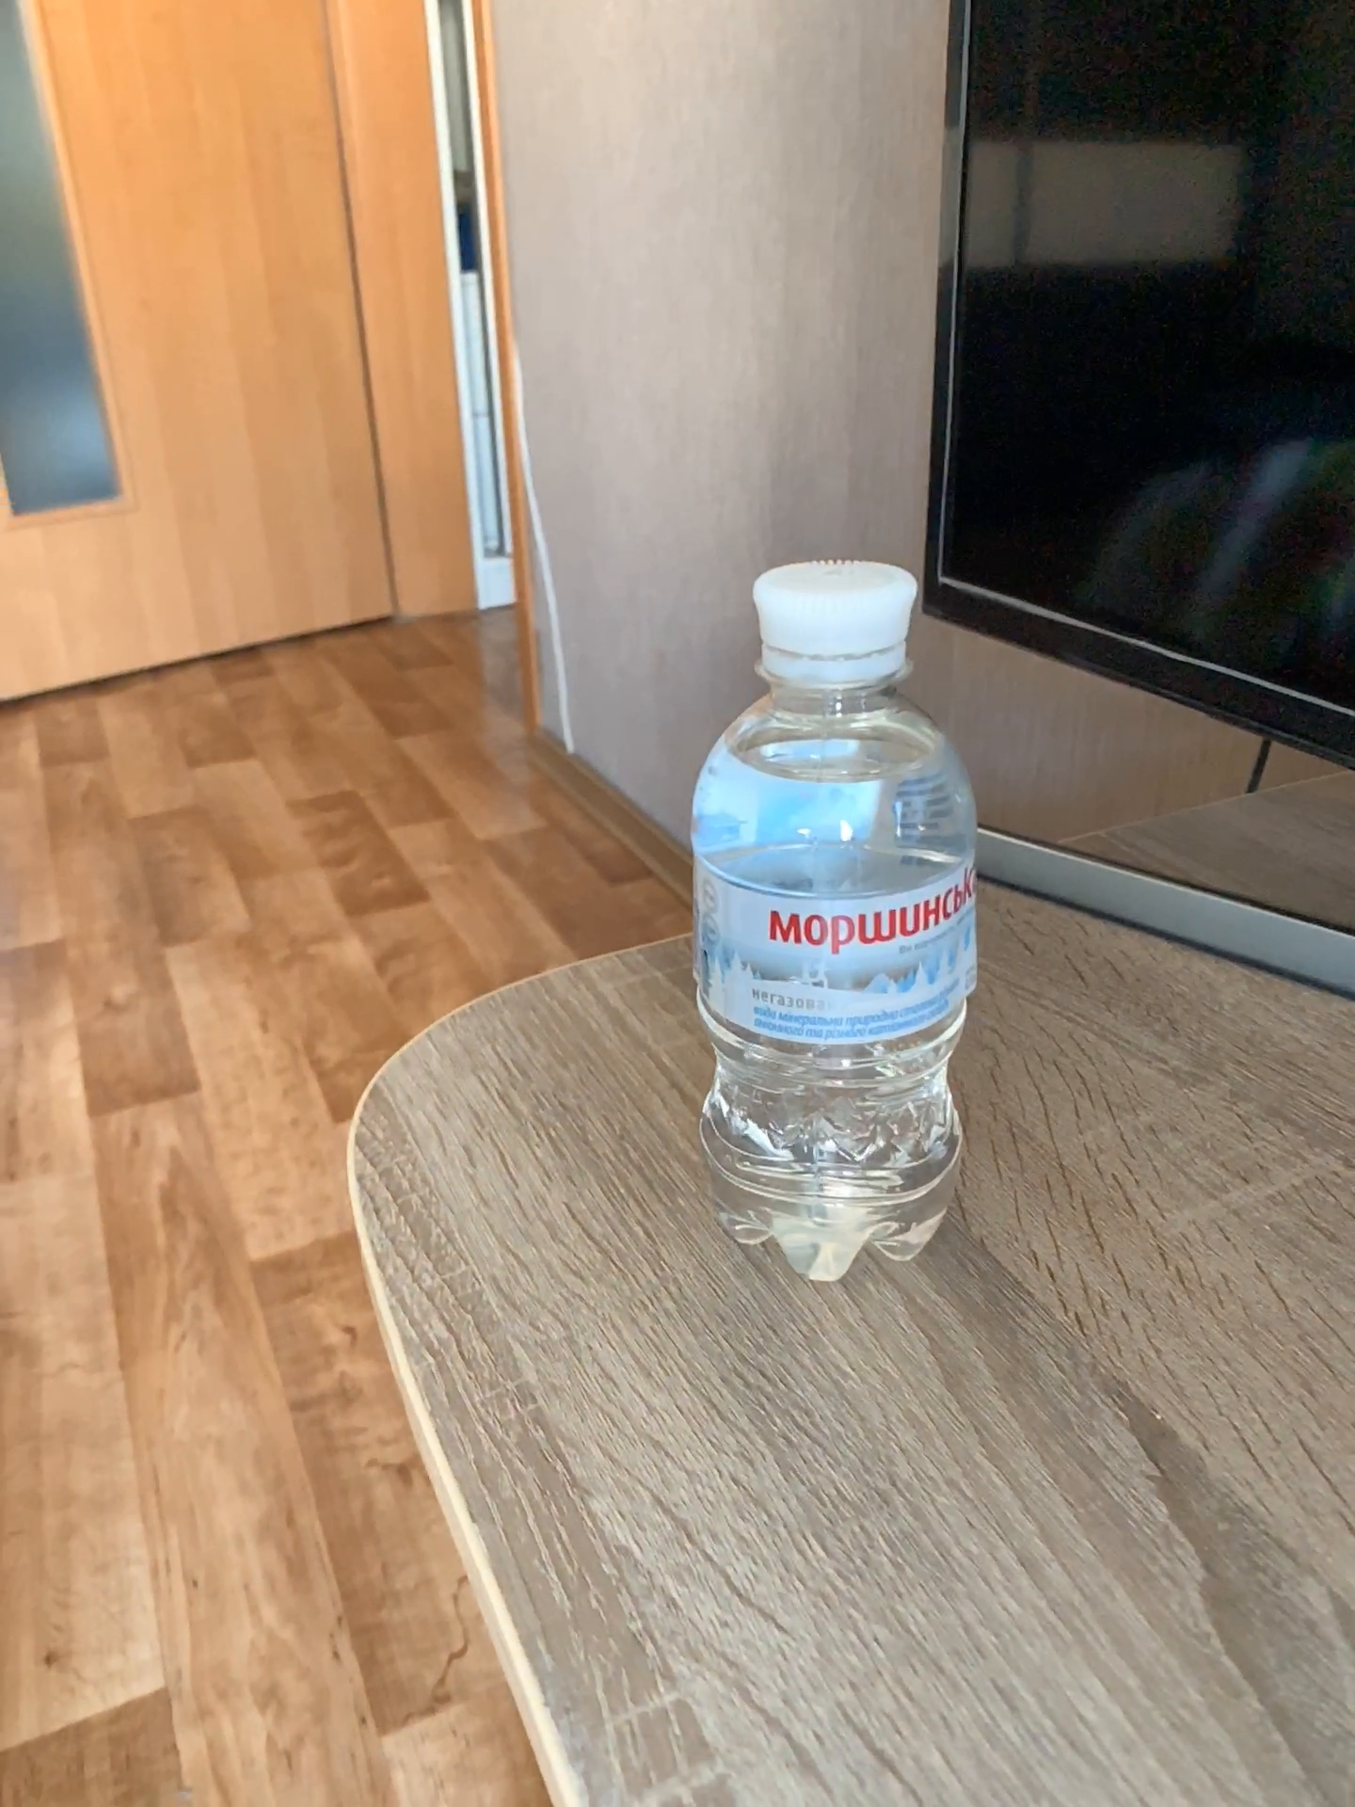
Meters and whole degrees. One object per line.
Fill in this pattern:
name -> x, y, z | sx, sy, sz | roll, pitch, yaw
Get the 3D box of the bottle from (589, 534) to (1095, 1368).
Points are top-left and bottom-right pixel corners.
bottle -> 0.030, 0.008, 0.296 | 0.070, 0.149, 0.070 | -1, 26, 1
